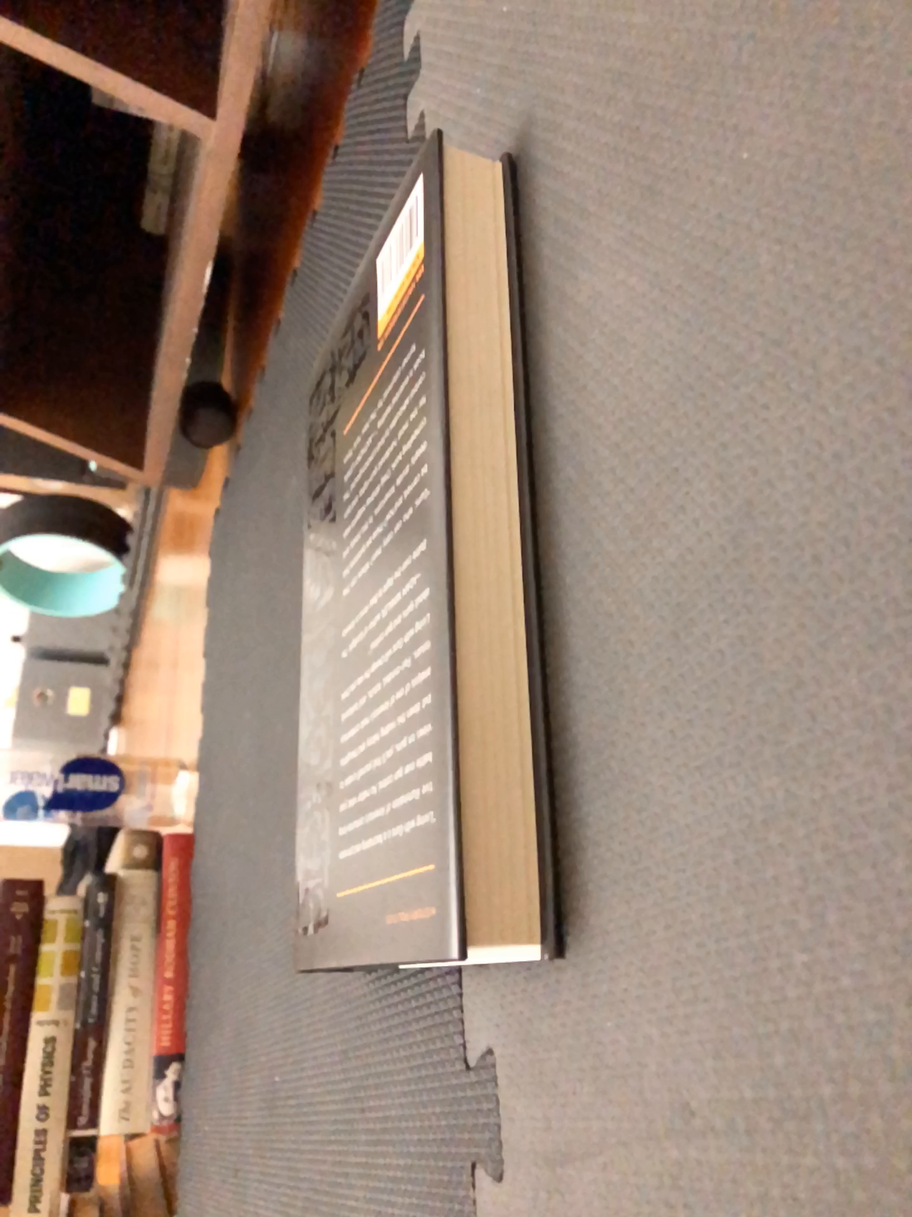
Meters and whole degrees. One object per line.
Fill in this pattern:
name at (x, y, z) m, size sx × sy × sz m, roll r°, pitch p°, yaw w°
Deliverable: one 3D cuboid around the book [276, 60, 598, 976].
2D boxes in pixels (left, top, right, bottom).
book at (-0.017, -0.015, 0.345) m, size 0.170 × 0.040 × 0.260 m, roll 139°, pitch 134°, yaw -62°
